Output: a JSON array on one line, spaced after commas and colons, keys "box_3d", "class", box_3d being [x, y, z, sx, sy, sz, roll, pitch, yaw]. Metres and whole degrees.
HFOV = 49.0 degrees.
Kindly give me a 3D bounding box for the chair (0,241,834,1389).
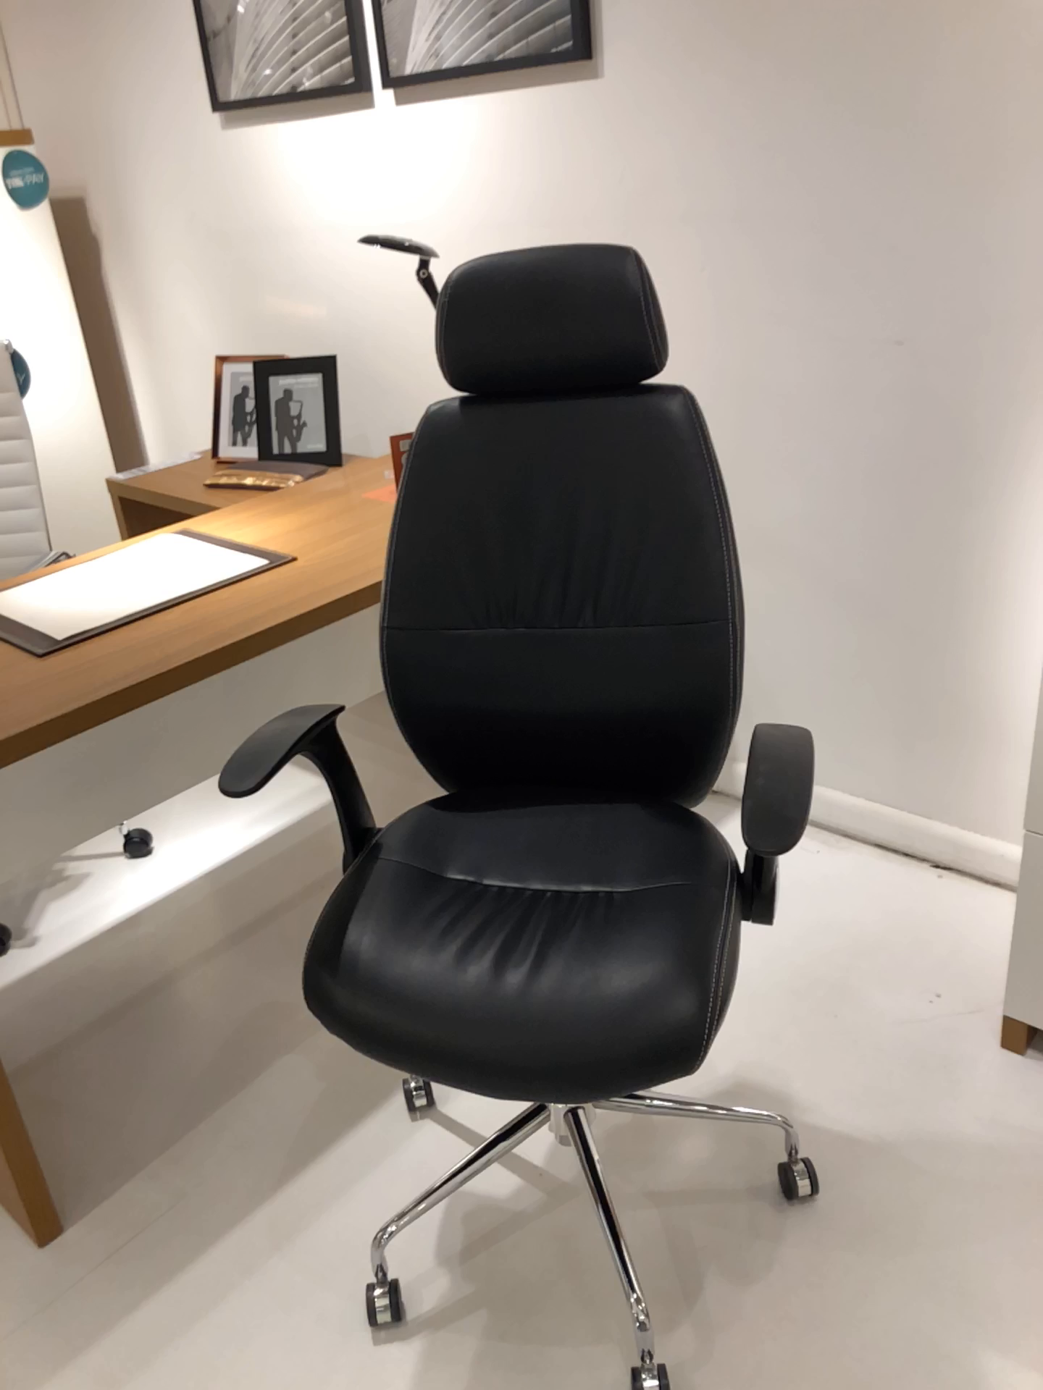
[{"box_3d": [0.010, 0.184, 1.457, 0.690, 1.301, 0.715, 2, 28, 16], "class": "chair"}]
